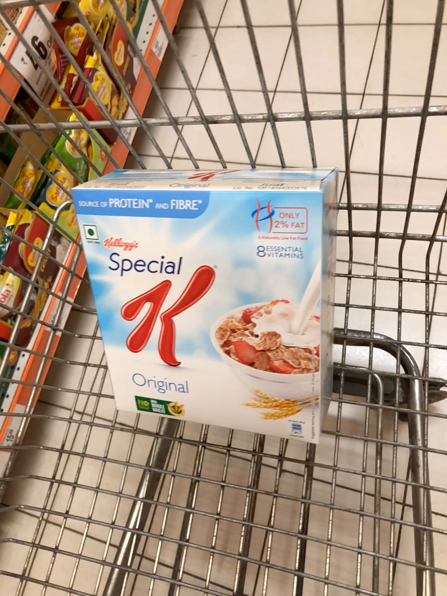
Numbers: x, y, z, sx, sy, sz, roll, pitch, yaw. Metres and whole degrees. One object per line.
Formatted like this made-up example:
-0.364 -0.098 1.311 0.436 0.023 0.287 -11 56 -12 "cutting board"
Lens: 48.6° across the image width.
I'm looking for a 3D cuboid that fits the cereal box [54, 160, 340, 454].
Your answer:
-0.011 0.005 0.396 0.190 0.209 0.070 4 28 17 "cereal box"
